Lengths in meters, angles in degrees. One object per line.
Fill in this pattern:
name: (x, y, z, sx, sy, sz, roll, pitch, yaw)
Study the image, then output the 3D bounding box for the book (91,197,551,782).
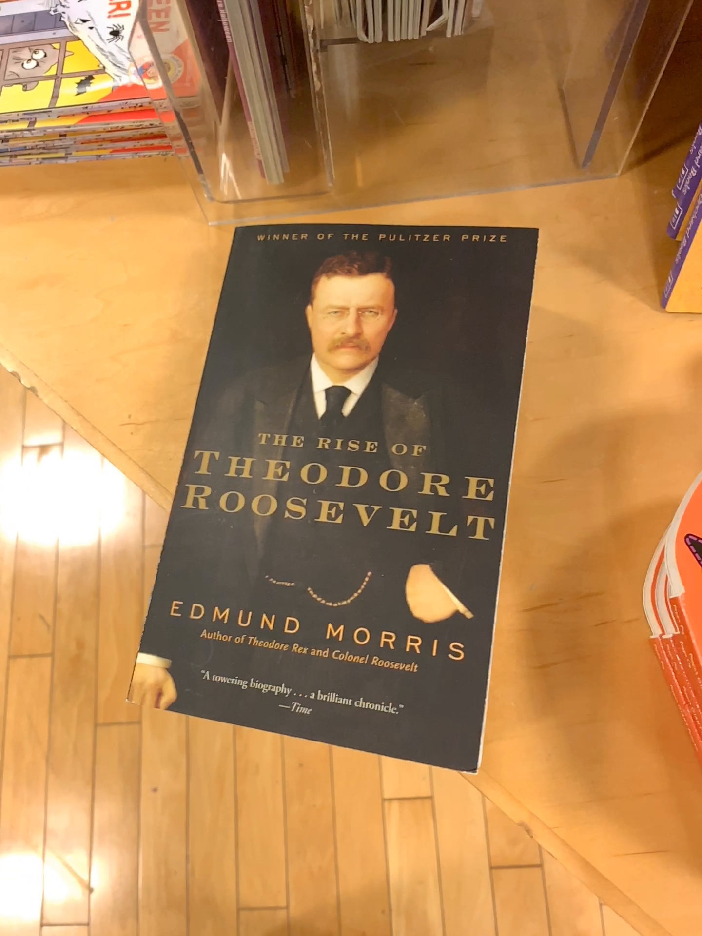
book: (-0.003, 0.003, 0.289, 0.130, 0.066, 0.195, 8, 76, 7)
